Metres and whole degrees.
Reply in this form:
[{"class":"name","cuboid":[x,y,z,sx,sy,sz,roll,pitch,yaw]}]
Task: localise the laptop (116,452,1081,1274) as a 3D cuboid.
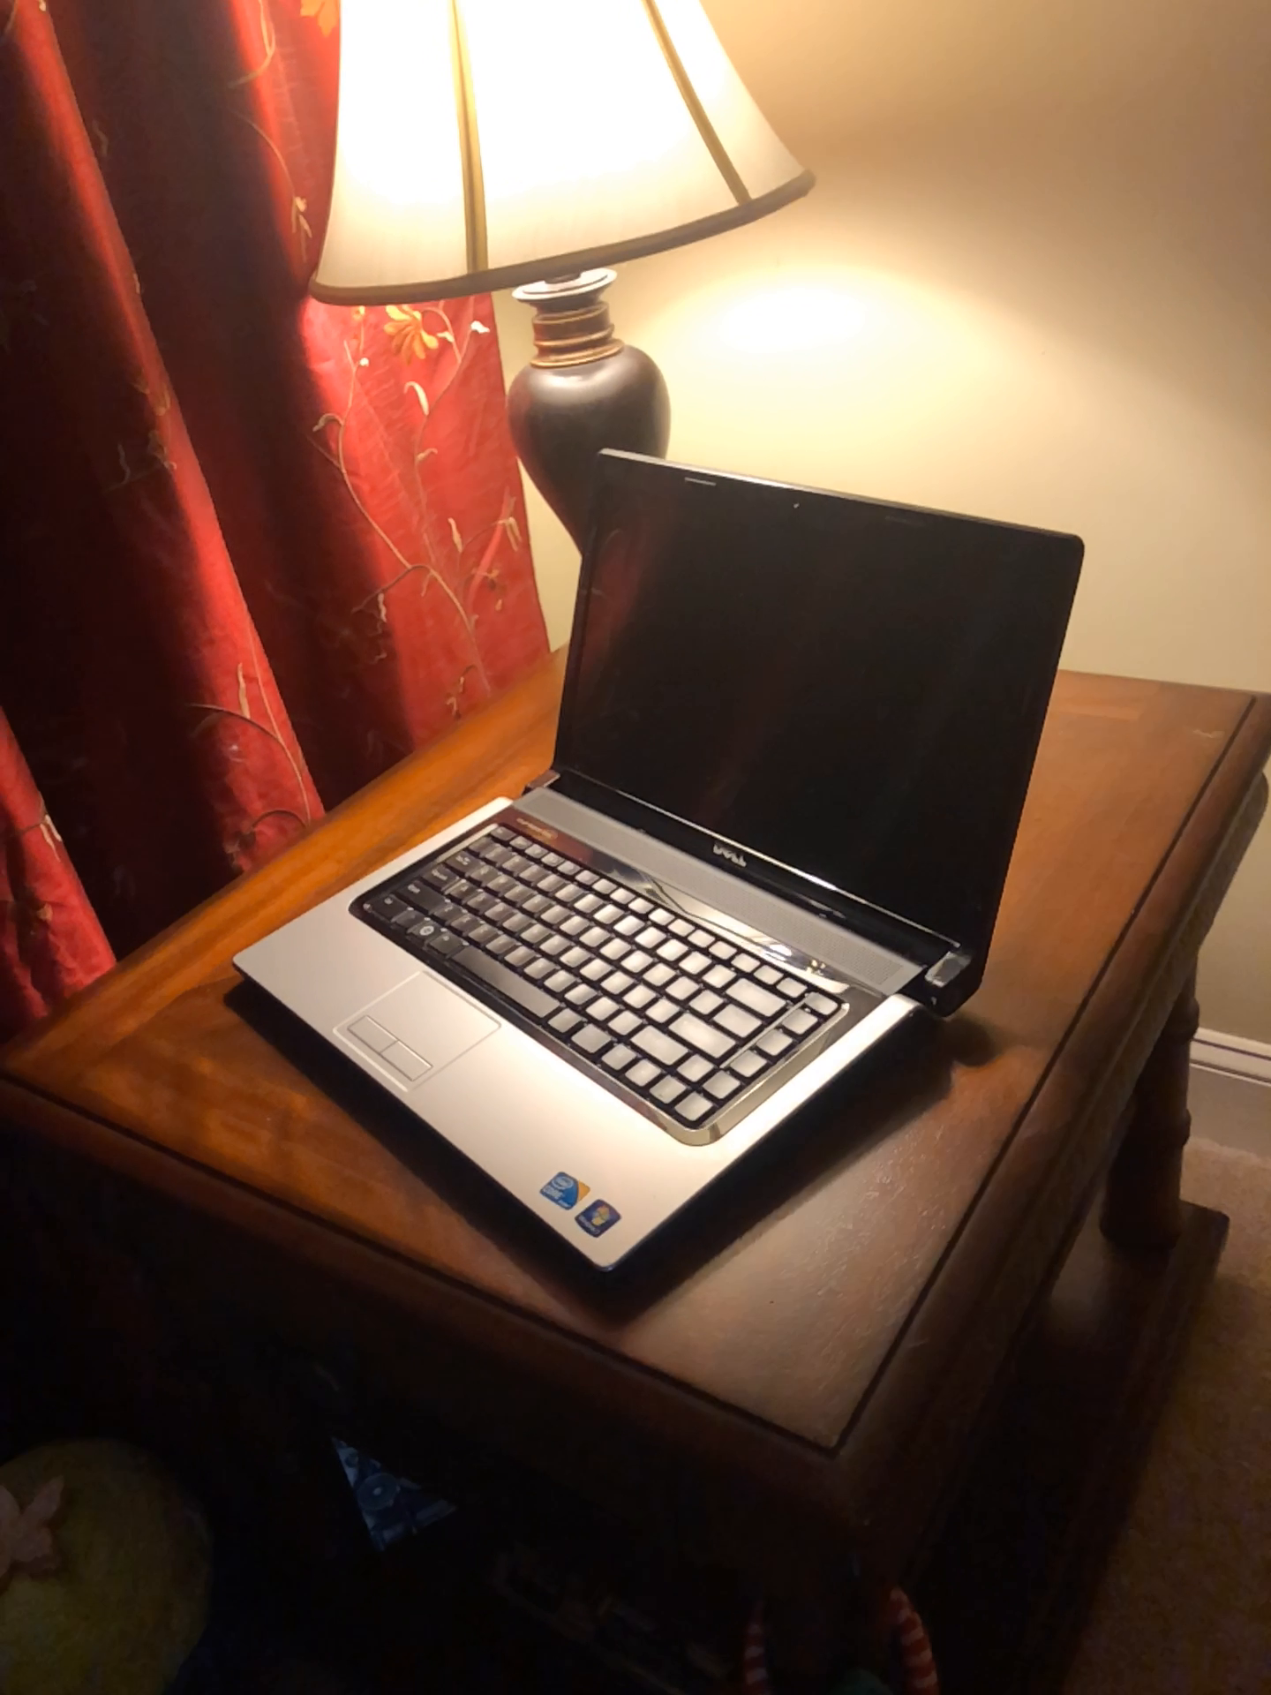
[{"class":"laptop","cuboid":[-0.015,-0.040,0.759,0.351,0.204,0.363,-31,37,-30]}]
